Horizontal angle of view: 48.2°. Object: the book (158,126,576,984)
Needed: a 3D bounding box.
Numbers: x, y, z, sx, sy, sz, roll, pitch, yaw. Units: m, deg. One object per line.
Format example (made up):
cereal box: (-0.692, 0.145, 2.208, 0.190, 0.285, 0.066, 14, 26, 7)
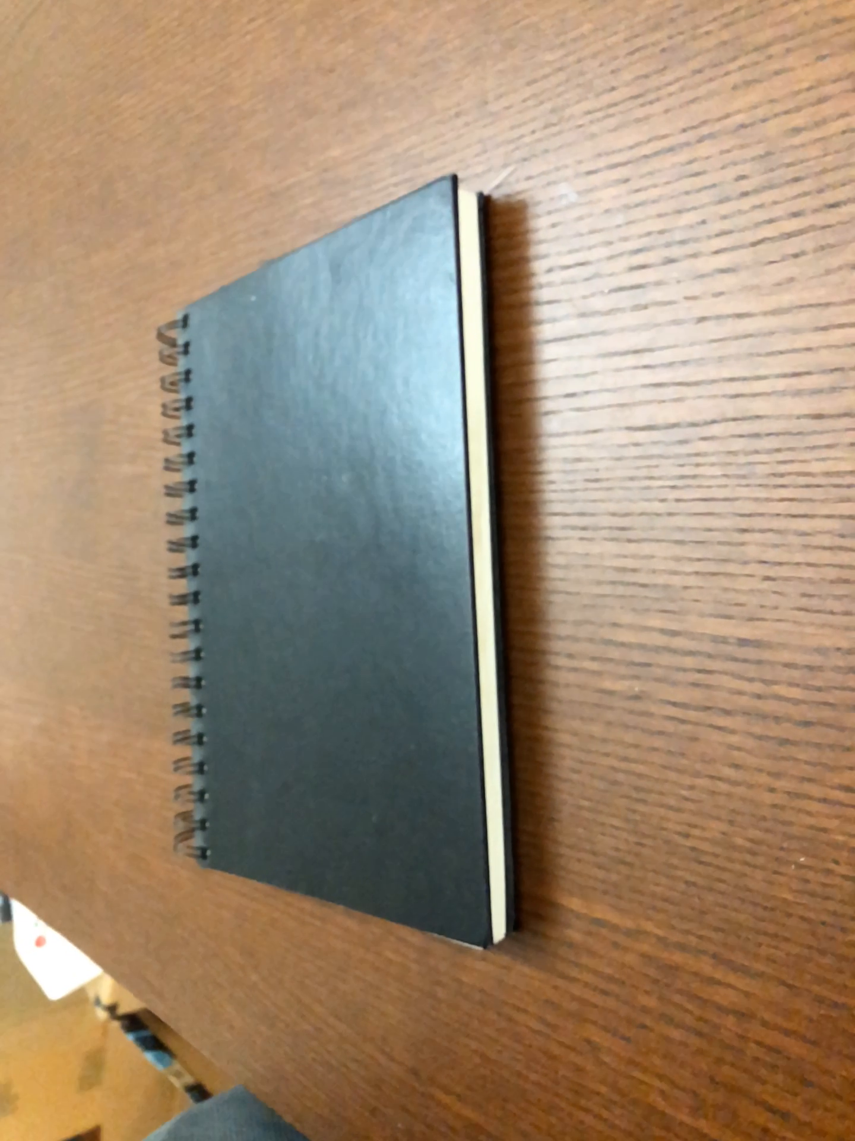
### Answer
book: (-0.039, -0.001, 0.372, 0.201, 0.030, 0.260, -6, 85, 47)
